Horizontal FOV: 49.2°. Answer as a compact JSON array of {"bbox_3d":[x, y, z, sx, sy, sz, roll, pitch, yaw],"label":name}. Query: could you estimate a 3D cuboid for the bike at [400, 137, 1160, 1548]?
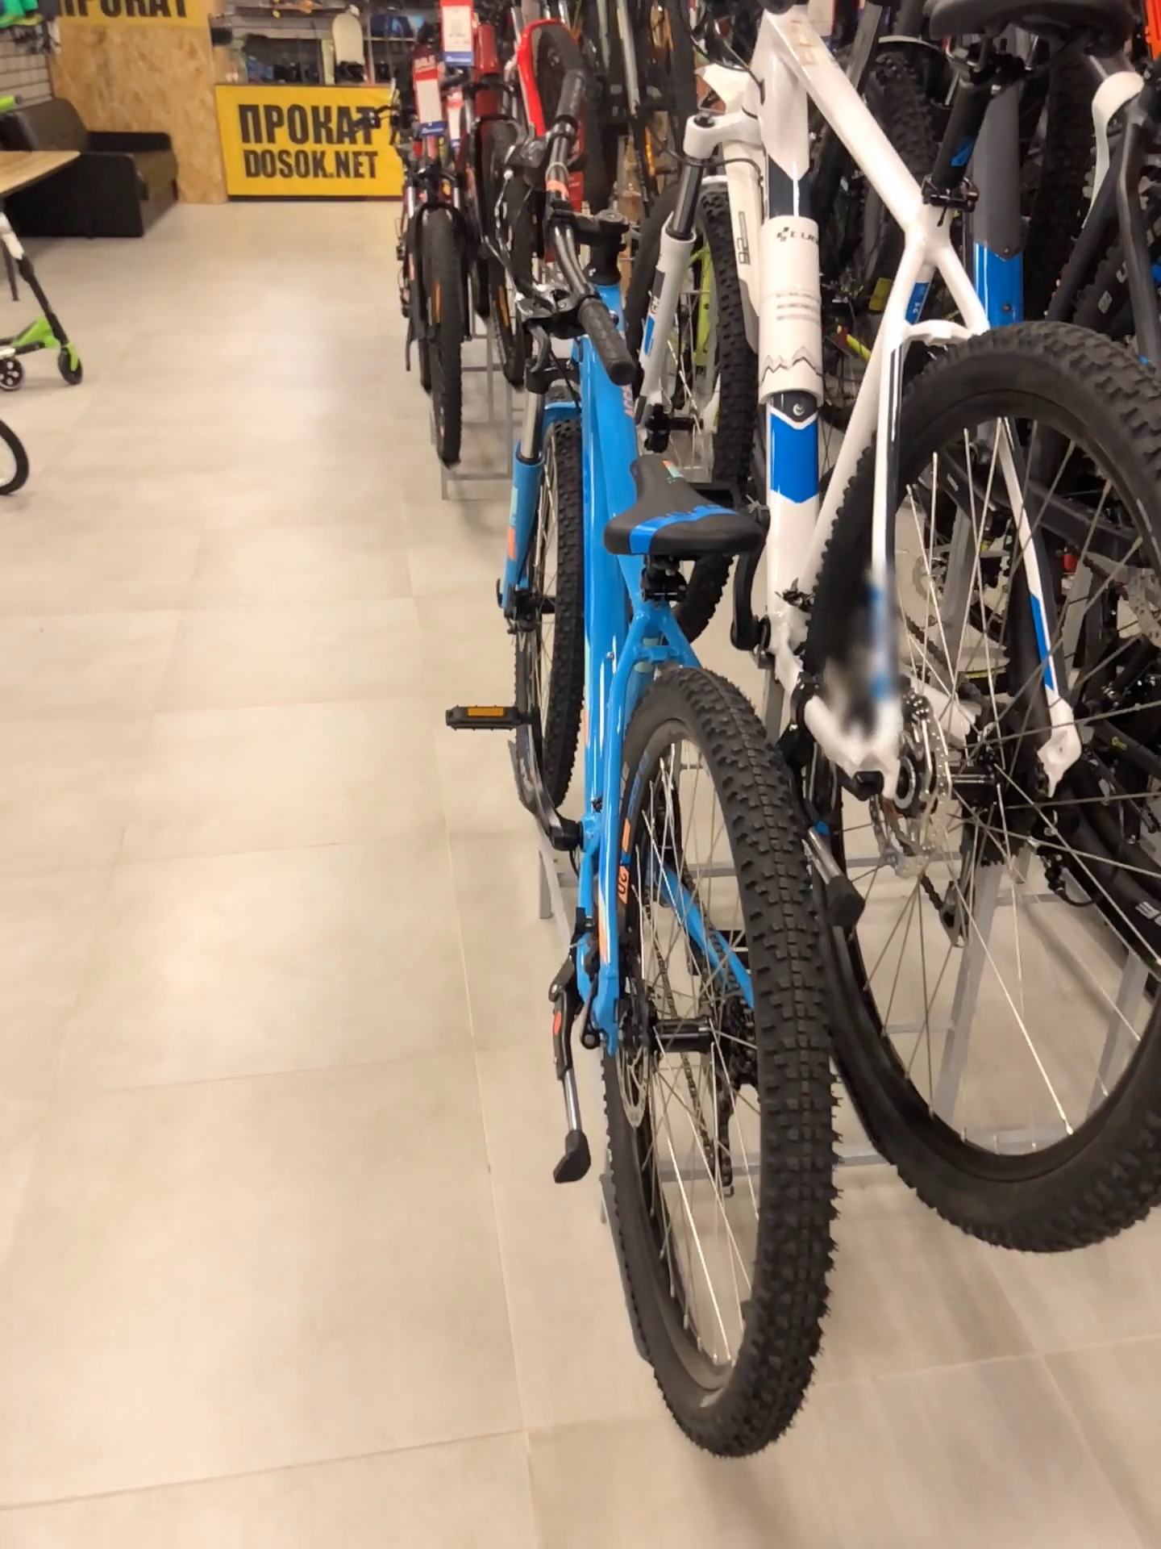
[{"bbox_3d":[0.132,-0.167,1.584,0.630,1.082,1.711,-3,28,-8],"label":"bike"}]
